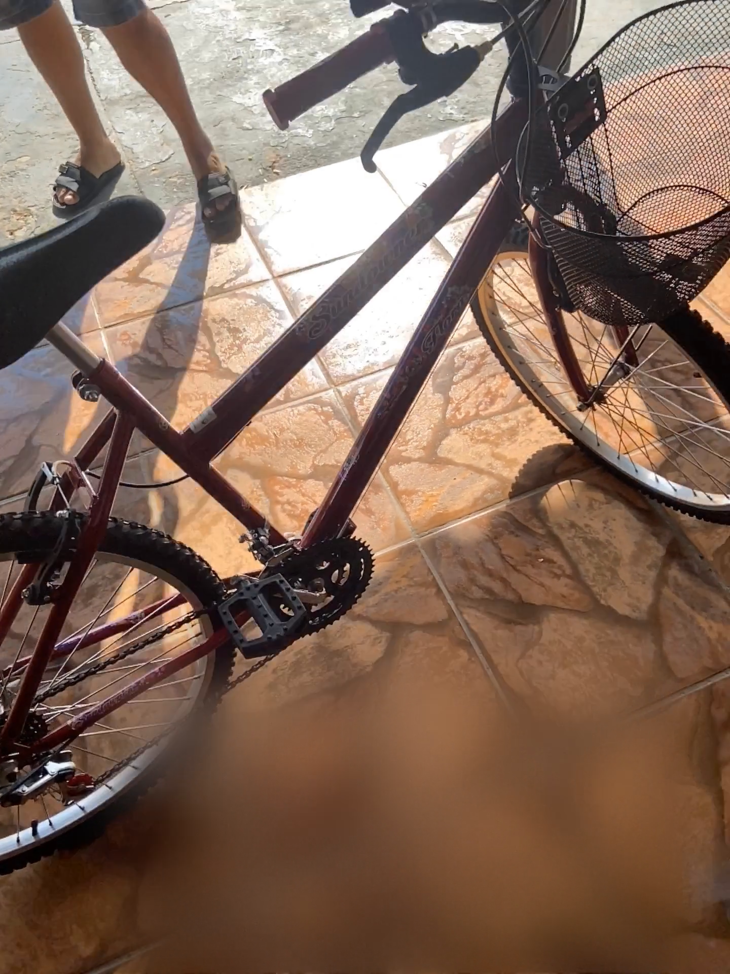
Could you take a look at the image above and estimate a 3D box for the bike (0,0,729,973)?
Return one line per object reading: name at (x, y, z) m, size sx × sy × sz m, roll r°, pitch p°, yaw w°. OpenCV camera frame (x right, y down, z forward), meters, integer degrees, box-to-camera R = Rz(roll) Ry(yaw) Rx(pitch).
bike at (-0.139, 0.012, 0.843) m, size 1.408 × 1.082 × 0.551 m, roll -19°, pitch 54°, yaw -8°
